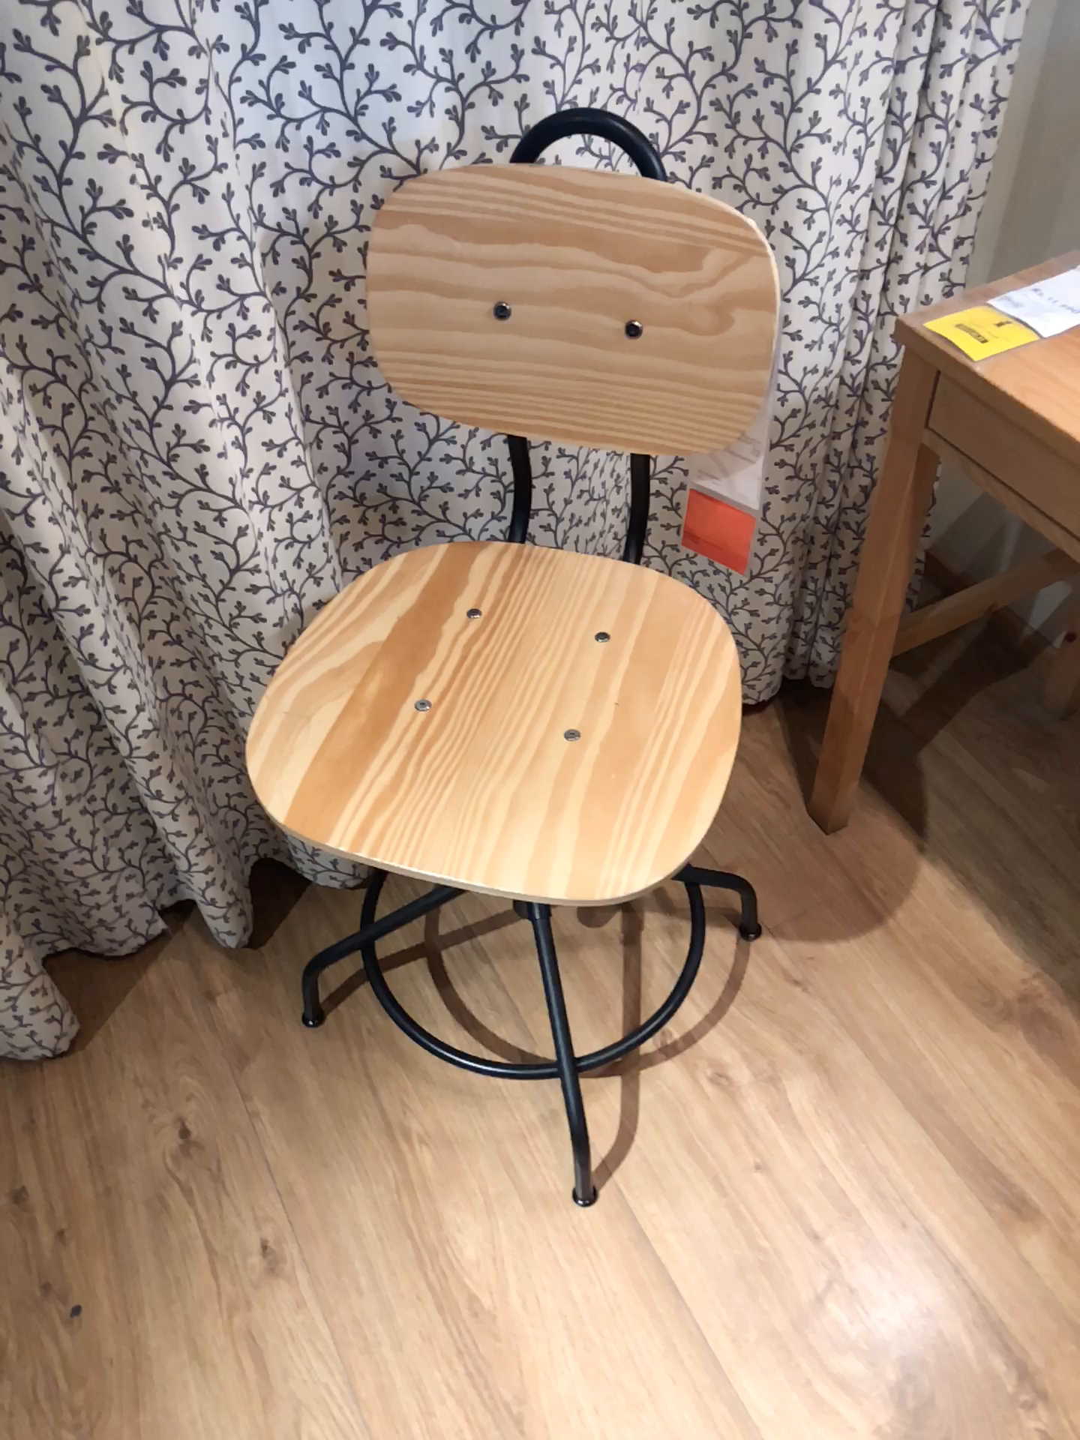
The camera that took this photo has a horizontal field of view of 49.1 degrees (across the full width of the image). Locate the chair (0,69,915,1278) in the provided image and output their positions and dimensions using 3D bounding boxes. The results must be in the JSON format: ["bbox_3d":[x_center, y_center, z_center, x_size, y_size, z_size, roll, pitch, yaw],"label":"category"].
[{"bbox_3d":[-0.042,-0.004,1.019,0.520,0.815,0.553,10,50,13],"label":"chair"}]
